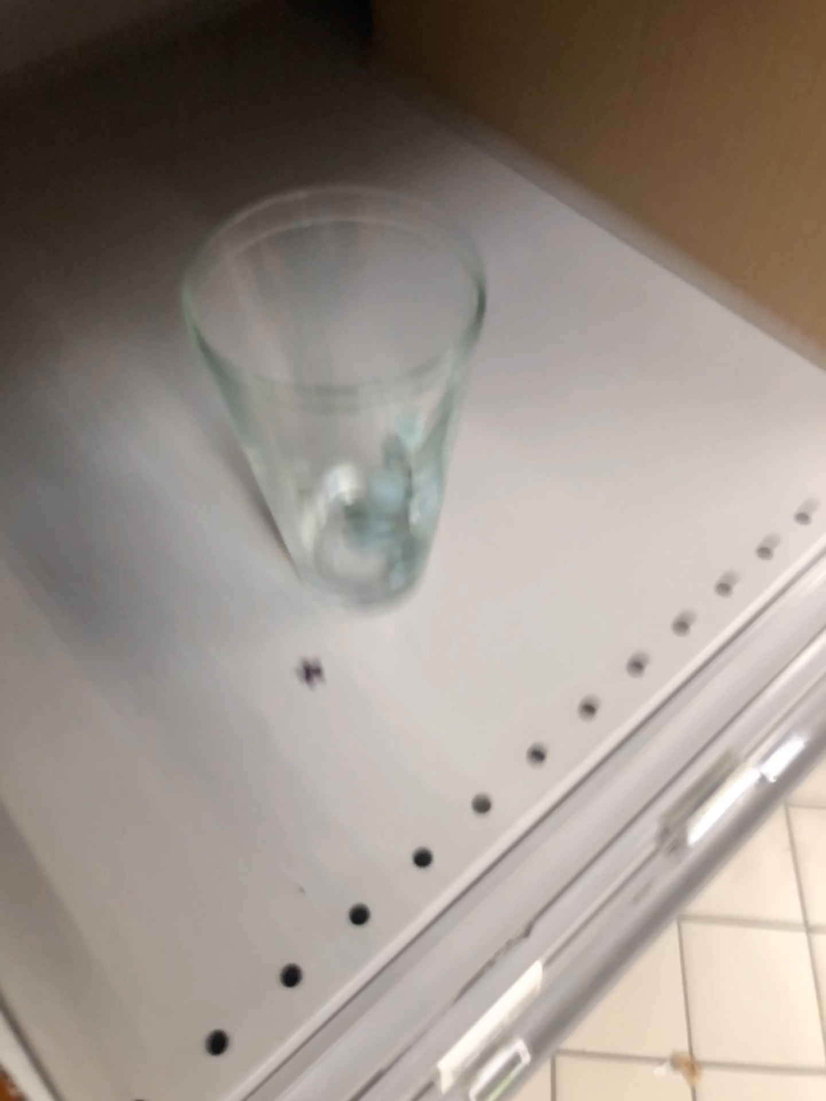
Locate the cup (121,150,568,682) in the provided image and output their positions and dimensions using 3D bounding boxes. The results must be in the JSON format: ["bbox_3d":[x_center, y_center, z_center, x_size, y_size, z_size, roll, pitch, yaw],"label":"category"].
[{"bbox_3d":[-0.018,-0.038,0.286,0.083,0.114,0.084,-1,54,1],"label":"cup"}]
